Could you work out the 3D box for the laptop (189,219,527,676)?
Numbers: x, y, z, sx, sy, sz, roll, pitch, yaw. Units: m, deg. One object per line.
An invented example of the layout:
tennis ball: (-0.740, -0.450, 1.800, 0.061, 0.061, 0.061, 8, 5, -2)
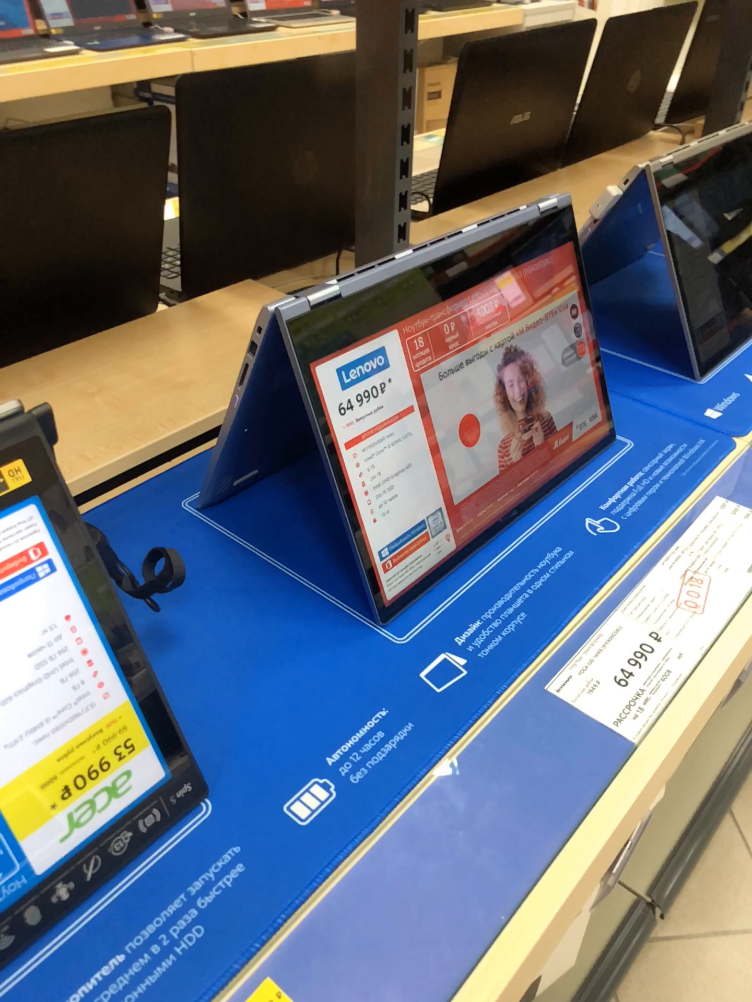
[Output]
laptop: (-0.013, -0.038, 0.745, 0.221, 0.157, 0.306, -18, 12, 46)
